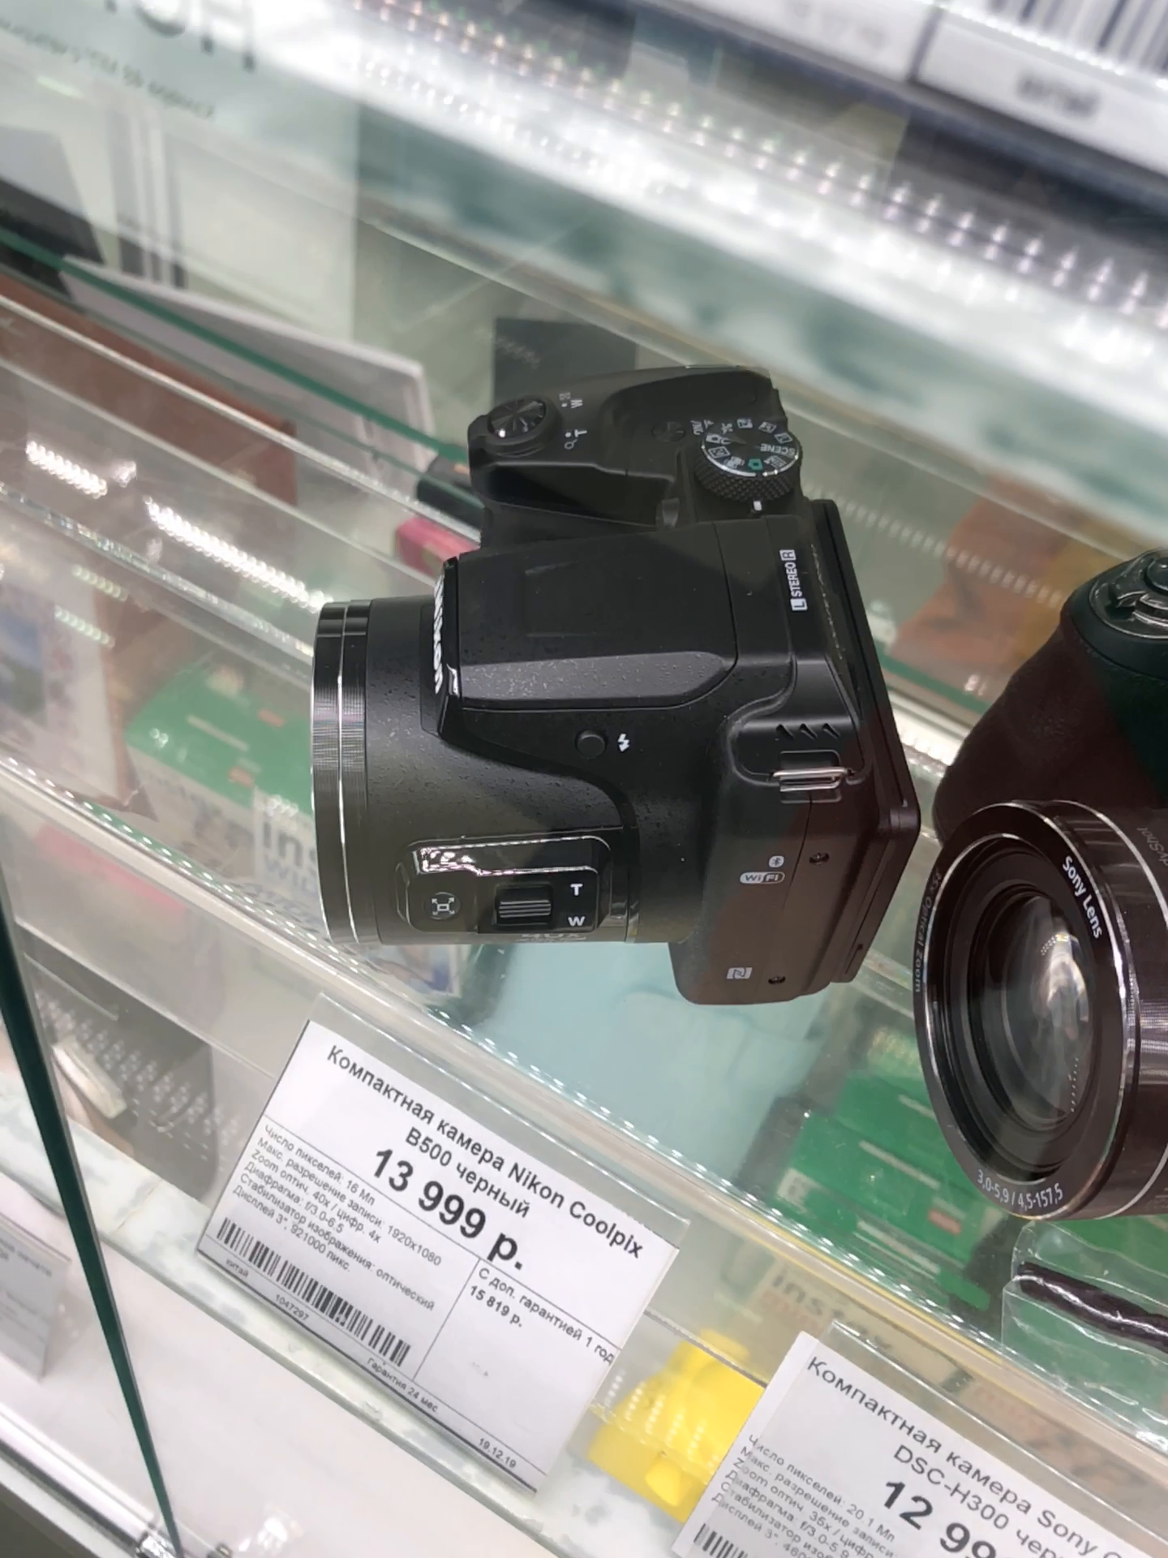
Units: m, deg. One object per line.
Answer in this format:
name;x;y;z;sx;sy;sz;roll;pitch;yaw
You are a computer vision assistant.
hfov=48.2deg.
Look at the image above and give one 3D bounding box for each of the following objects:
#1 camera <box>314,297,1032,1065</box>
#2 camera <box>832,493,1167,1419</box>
camera;0.001;-0.019;0.238;0.098;0.080;0.110;0;49;-12
camera;0.111;0.024;0.210;0.098;0.084;0.115;-1;47;-9
